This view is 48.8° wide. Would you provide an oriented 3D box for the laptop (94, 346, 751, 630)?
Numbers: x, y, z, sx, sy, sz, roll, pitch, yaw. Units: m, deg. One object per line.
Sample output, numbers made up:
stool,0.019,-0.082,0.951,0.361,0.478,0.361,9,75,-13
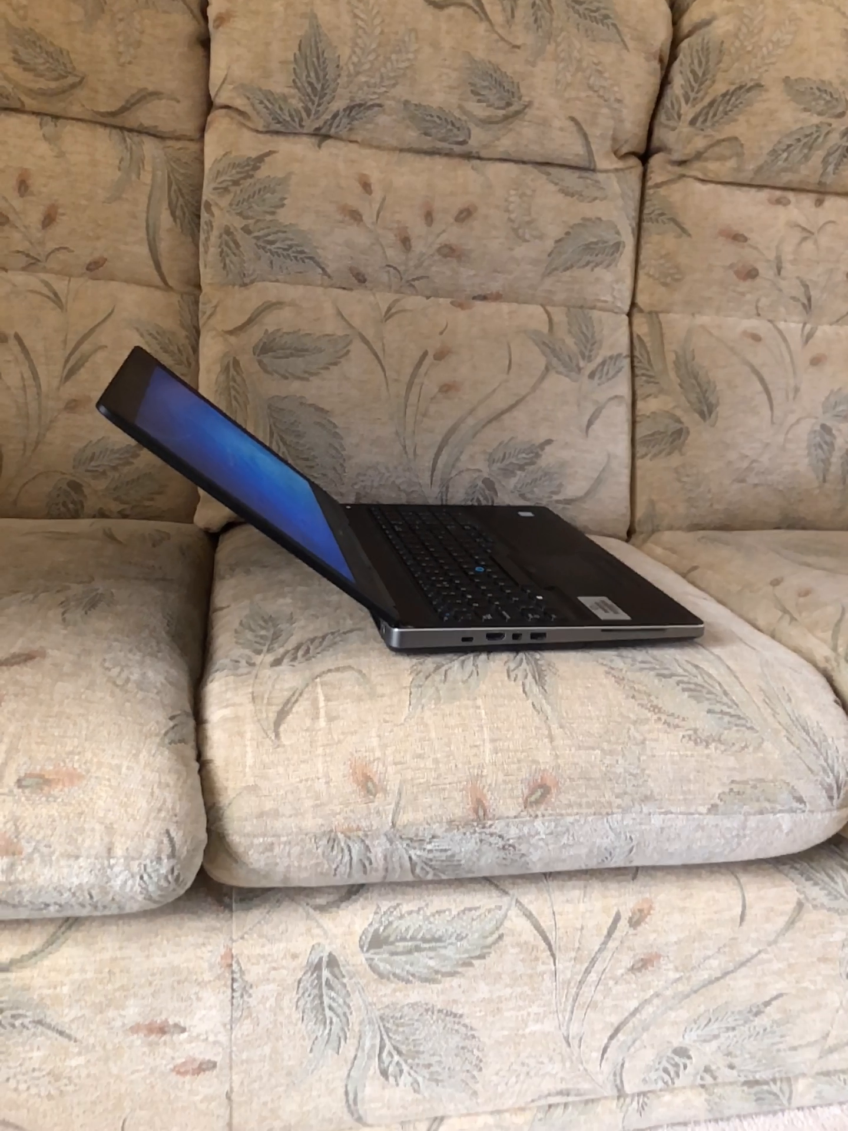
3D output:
laptop,-0.030,-0.083,0.826,0.451,0.157,0.357,0,20,-13
